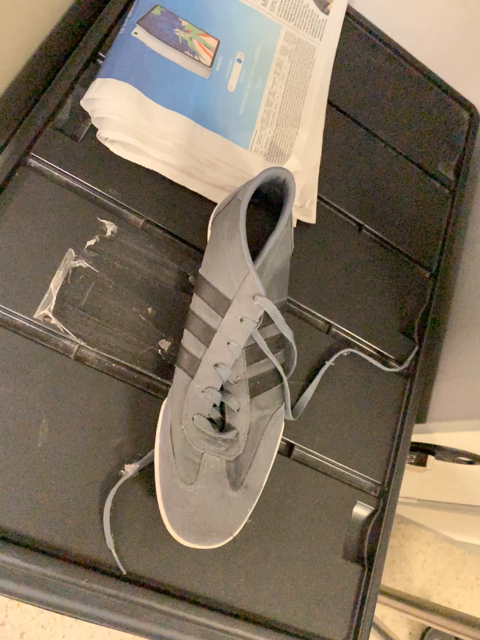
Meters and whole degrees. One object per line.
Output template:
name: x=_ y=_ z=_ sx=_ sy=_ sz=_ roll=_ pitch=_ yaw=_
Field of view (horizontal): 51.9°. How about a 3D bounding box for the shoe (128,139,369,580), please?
shoe: x=0.014 y=0.024 z=0.351 sx=0.113 sy=0.077 sz=0.268 roll=17 pitch=69 yaw=-21
